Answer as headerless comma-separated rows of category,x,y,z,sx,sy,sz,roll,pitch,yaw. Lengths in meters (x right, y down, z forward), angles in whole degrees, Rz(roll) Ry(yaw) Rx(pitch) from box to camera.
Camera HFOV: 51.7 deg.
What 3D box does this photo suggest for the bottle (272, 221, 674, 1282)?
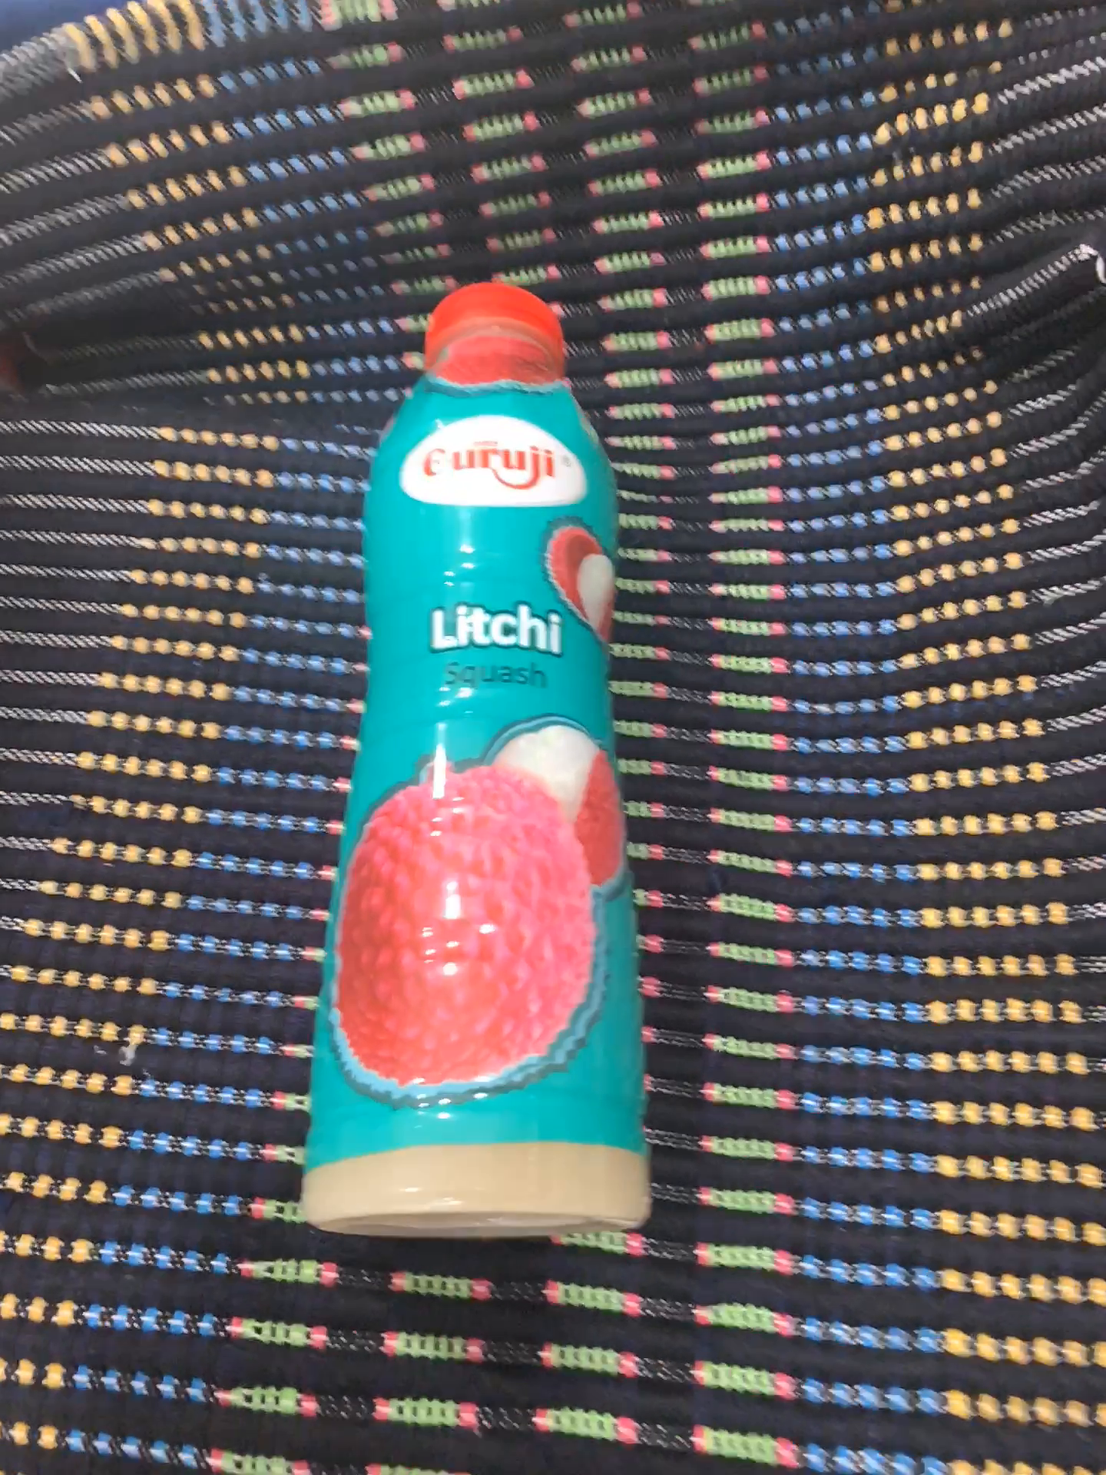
bottle,-0.019,-0.014,0.306,0.070,0.080,0.281,1,59,-4
